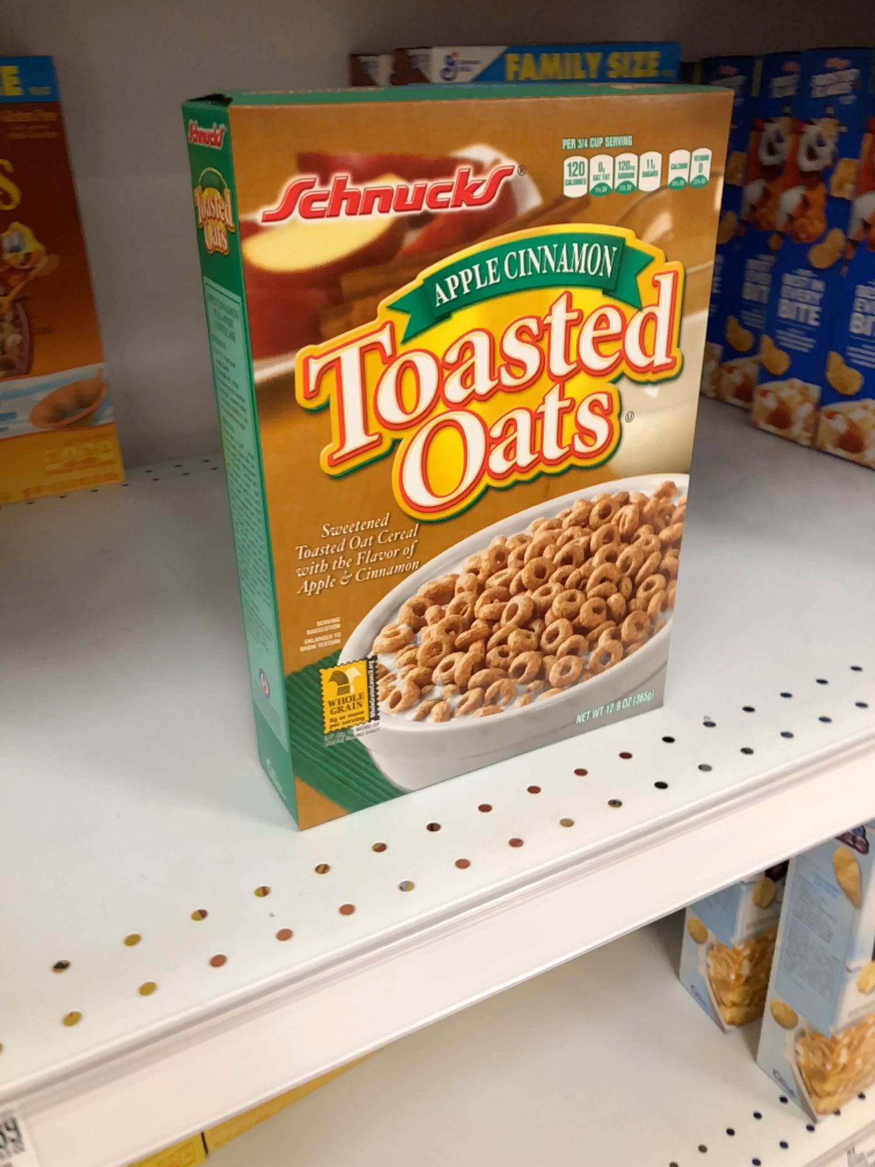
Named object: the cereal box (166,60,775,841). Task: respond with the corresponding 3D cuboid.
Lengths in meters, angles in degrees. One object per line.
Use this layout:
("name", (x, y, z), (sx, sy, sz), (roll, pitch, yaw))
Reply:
("cereal box", (0.018, -0.055, 0.400), (0.210, 0.279, 0.060), (-14, 29, -25))
